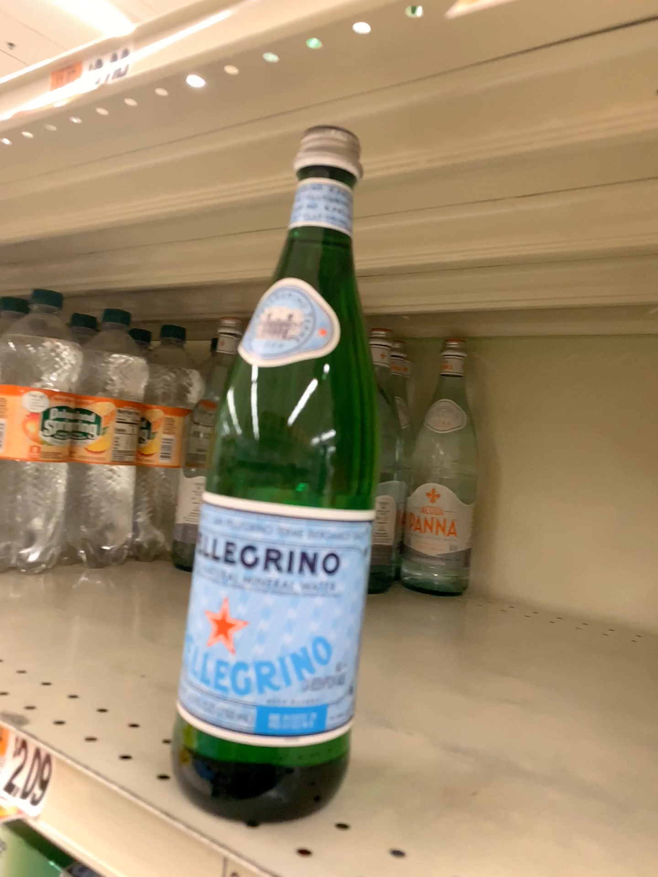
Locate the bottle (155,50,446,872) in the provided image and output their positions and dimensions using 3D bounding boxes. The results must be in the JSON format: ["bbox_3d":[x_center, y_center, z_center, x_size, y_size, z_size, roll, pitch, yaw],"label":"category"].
[{"bbox_3d":[-0.012,0.006,0.295,0.078,0.302,0.065,5,-1,42],"label":"bottle"}]
